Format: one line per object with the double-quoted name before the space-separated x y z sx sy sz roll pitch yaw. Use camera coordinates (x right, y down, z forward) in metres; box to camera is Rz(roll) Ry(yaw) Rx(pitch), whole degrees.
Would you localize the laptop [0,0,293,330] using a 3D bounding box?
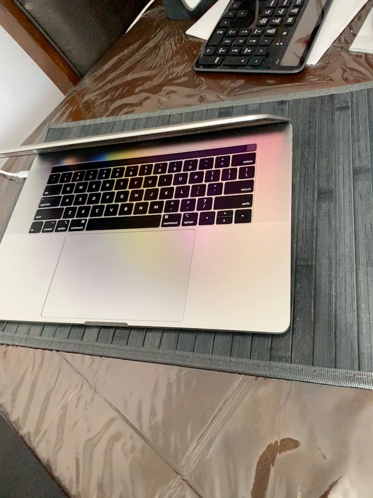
"laptop" -0.085 -0.071 0.358 0.340 0.164 0.234 -1 61 19
